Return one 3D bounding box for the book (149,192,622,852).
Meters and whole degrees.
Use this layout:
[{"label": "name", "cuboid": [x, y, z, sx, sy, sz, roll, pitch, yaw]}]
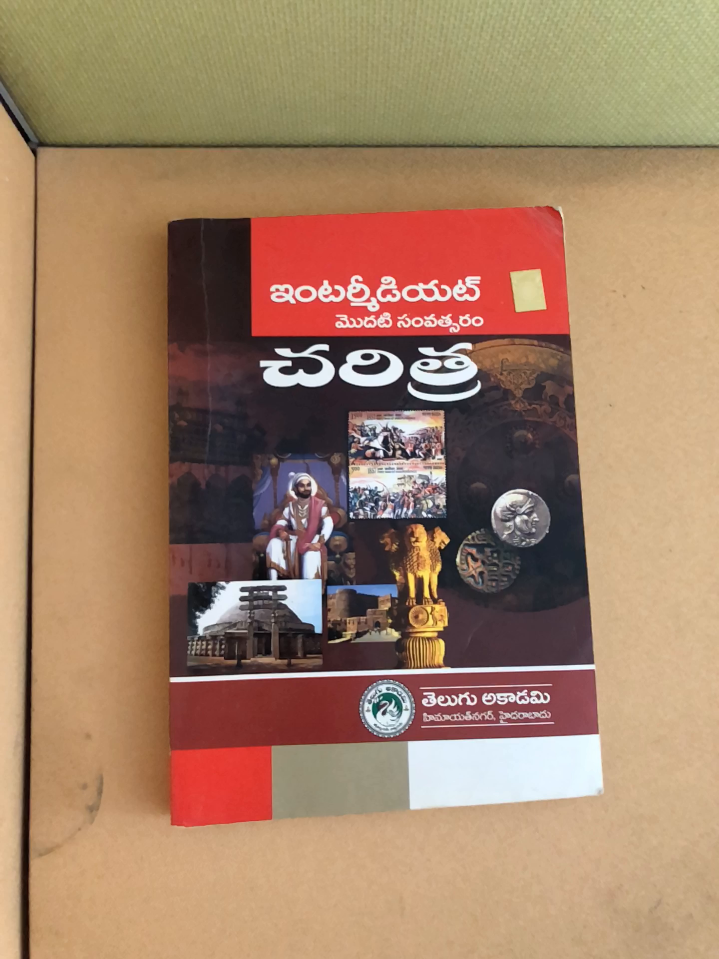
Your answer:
[{"label": "book", "cuboid": [0.007, 0.011, 0.374, 0.200, 0.030, 0.290, -2, 83, -3]}]
